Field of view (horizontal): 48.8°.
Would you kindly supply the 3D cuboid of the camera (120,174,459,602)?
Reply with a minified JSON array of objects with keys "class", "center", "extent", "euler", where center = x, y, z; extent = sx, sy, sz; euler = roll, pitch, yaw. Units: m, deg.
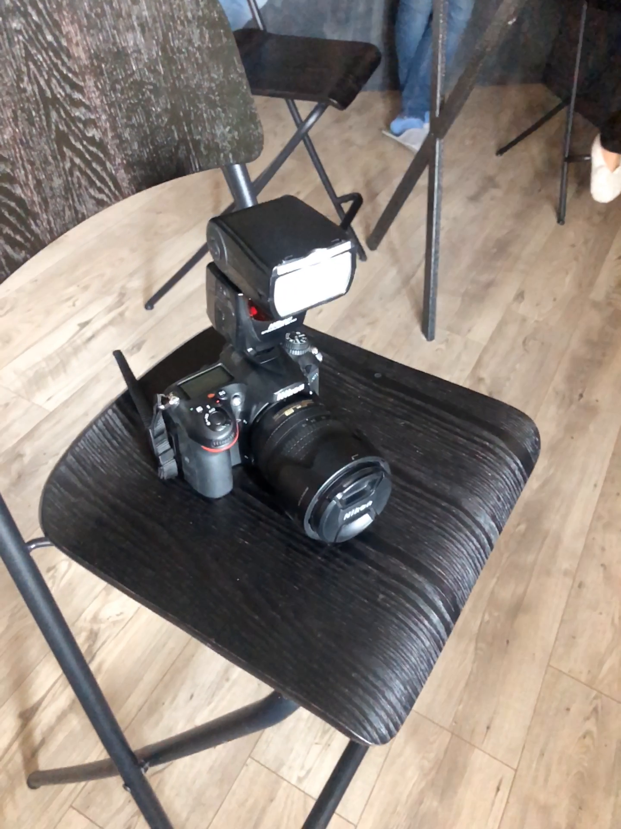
[{"class":"camera","center":[-0.020,-0.015,0.482],"extent":[0.125,0.217,0.168],"euler":[-28,56,-25]}]
